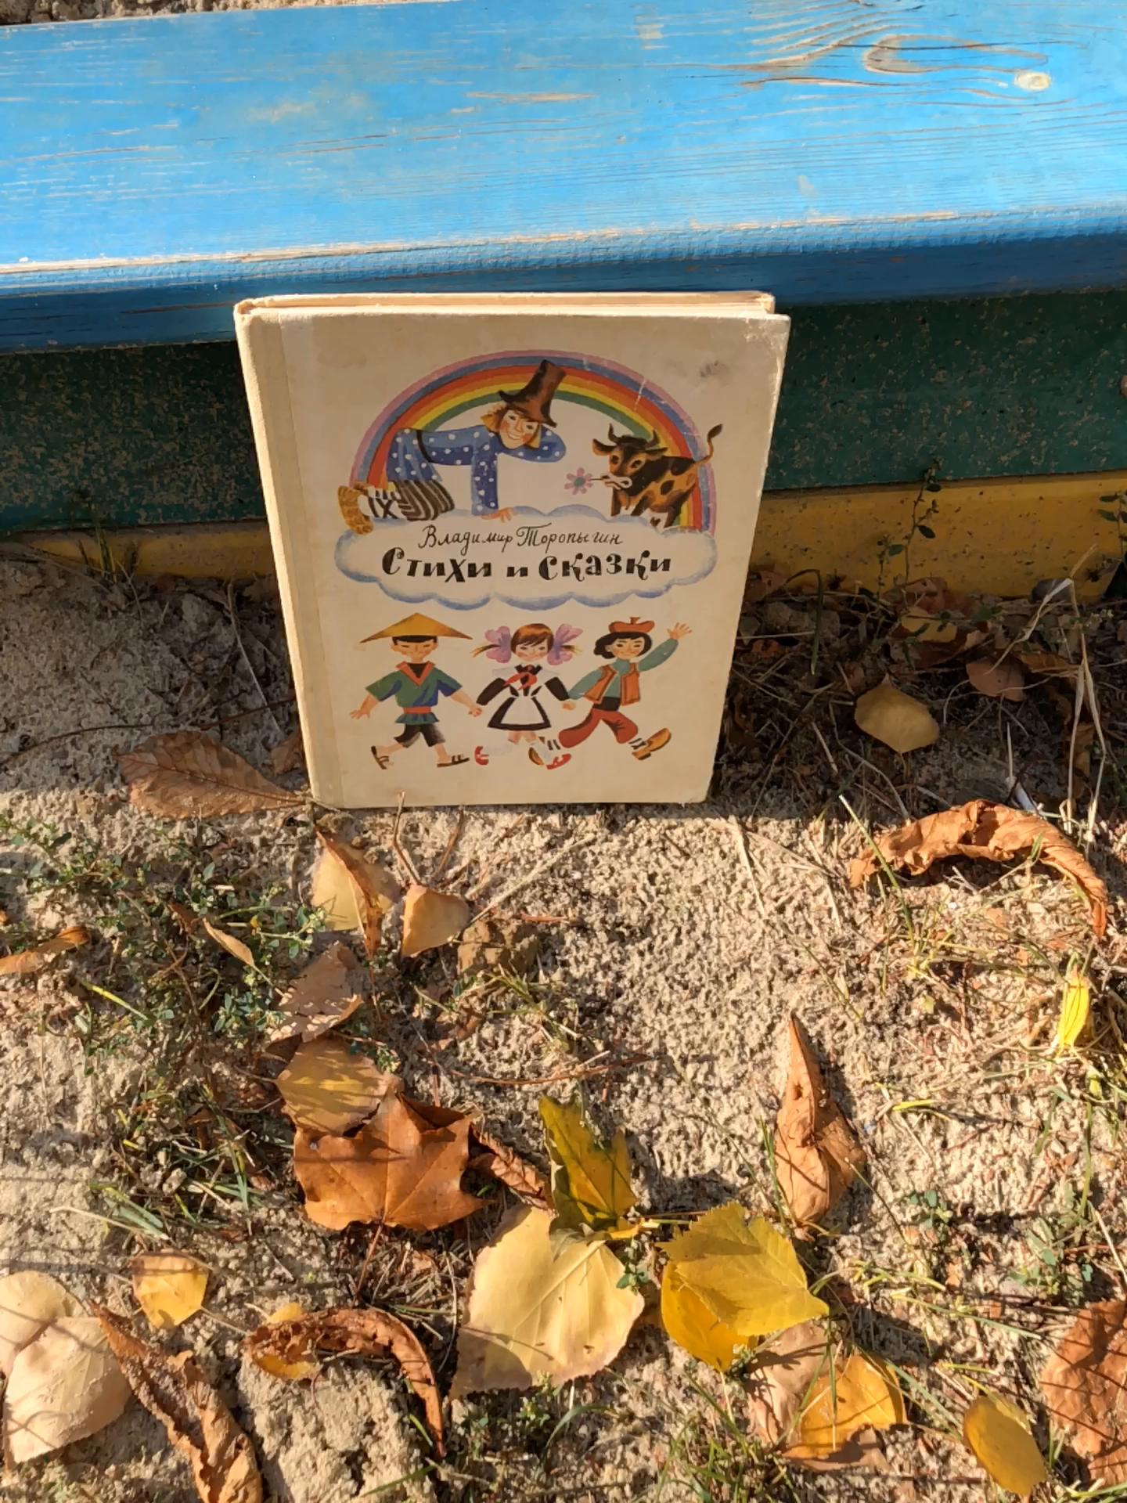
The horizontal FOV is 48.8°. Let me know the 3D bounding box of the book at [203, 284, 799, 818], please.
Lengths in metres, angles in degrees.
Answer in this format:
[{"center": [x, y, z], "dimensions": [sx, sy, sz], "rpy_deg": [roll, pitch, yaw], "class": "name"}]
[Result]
[{"center": [-0.019, -0.060, 0.451], "dimensions": [0.178, 0.213, 0.024], "rpy_deg": [-1, 43, -1], "class": "book"}]
